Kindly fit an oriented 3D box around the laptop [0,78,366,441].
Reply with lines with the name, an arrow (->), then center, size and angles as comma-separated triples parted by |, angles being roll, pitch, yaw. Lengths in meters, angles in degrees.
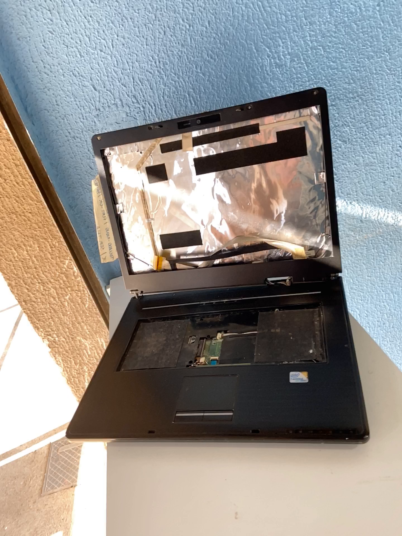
laptop -> -0.004, -0.022, 0.530 | 0.352, 0.261, 0.351 | -7, 33, 18
